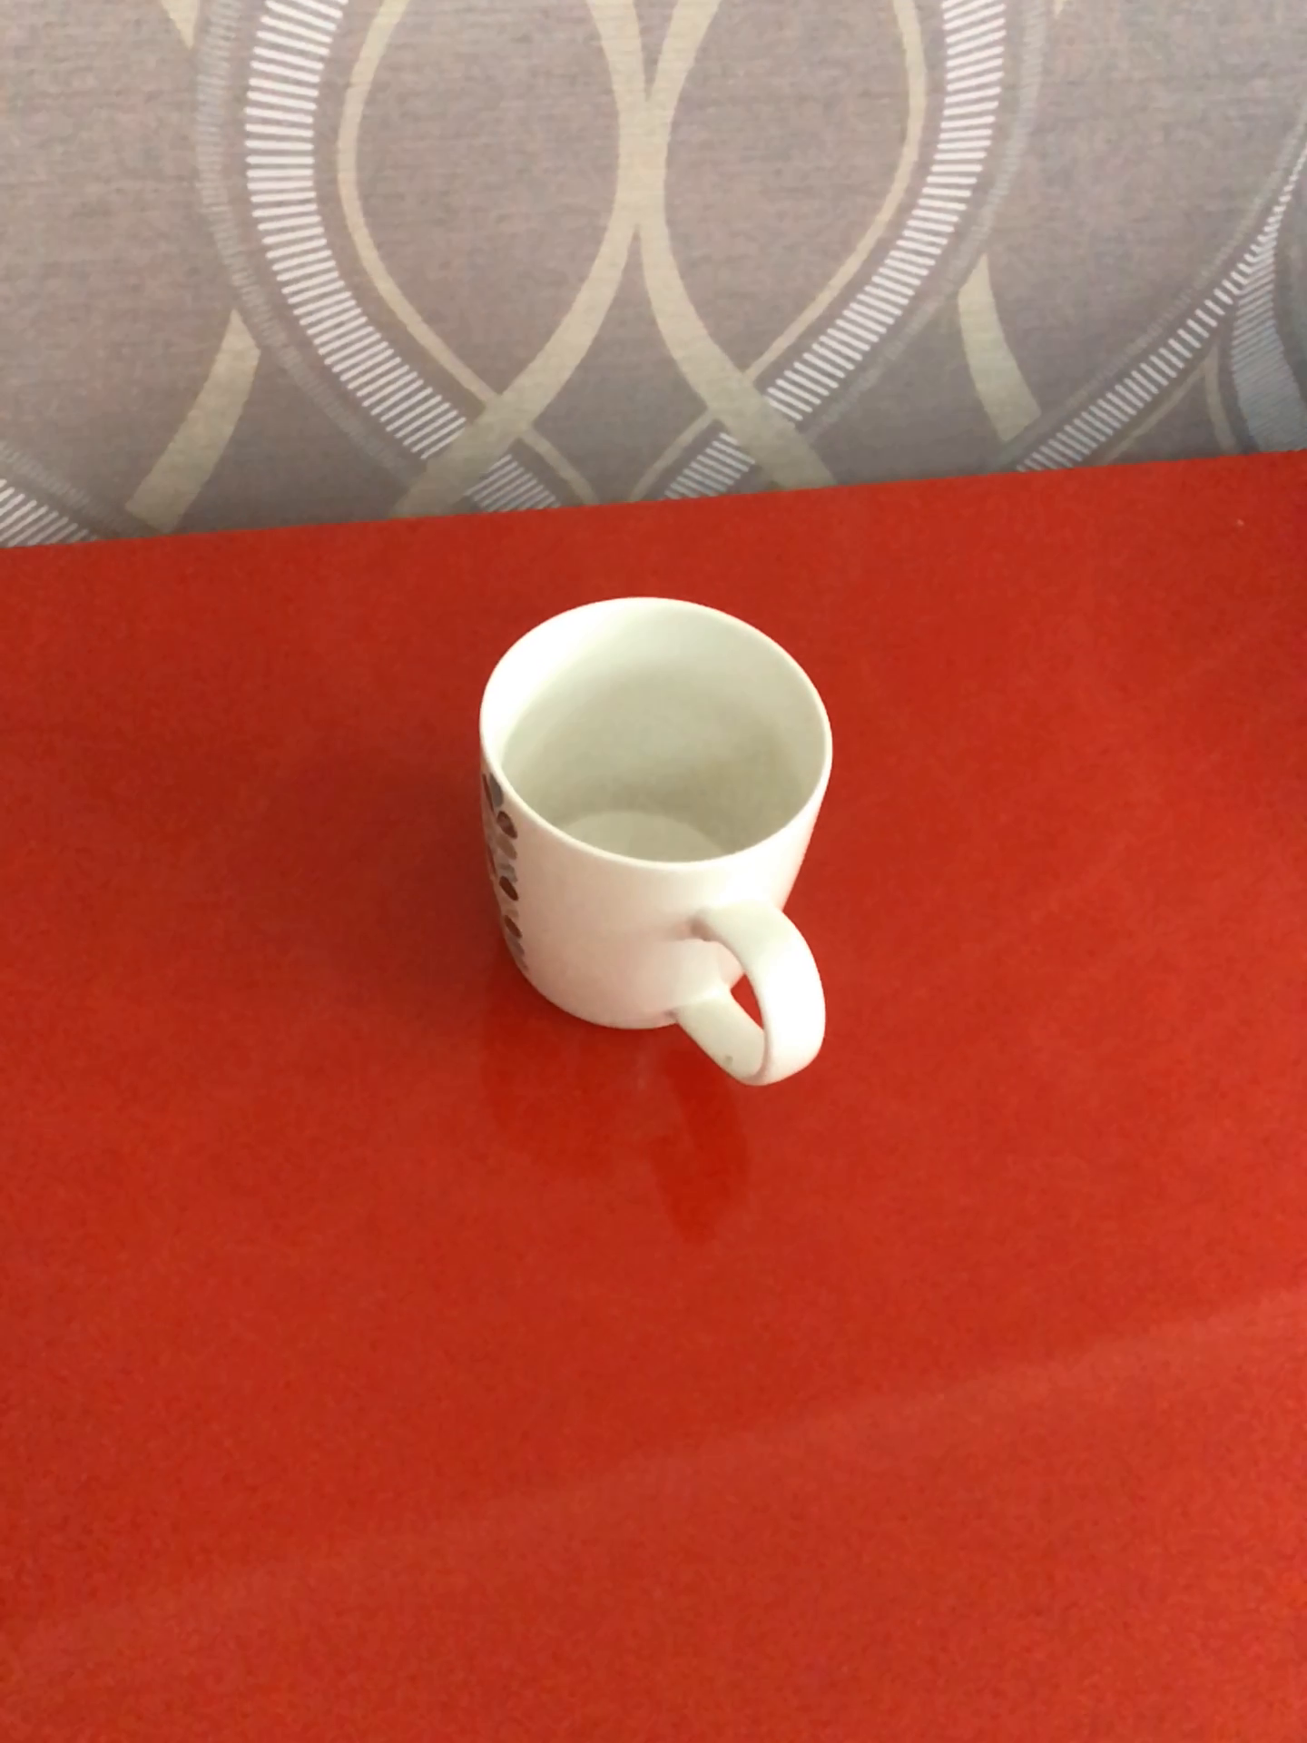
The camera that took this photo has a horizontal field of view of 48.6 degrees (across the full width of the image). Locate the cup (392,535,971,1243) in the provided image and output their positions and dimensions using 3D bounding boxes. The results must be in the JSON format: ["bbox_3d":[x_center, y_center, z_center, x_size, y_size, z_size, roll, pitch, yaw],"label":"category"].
[{"bbox_3d":[-0.001,0.005,0.386,0.090,0.119,0.120,-20,59,-19],"label":"cup"}]
